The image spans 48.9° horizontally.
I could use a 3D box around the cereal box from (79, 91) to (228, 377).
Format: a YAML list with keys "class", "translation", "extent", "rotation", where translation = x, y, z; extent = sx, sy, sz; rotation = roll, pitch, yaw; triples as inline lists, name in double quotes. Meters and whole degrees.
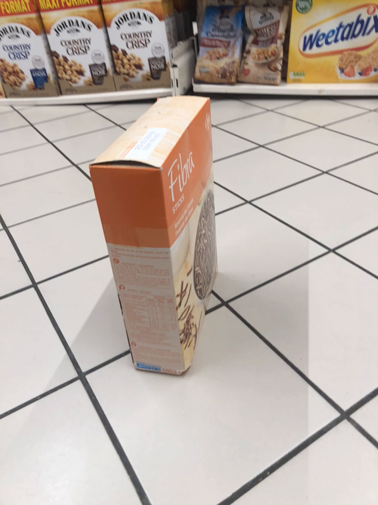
- class: "cereal box"
  translation: [-0.015, -0.028, 0.460]
  extent: [0.080, 0.238, 0.201]
  rotation: [5, 35, 13]
